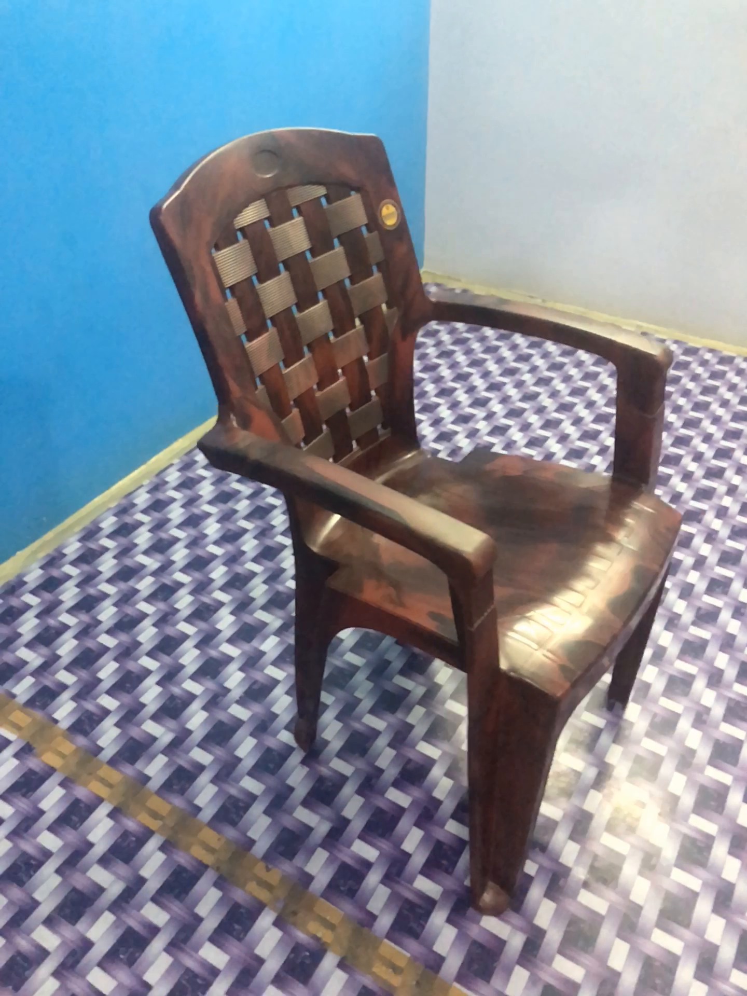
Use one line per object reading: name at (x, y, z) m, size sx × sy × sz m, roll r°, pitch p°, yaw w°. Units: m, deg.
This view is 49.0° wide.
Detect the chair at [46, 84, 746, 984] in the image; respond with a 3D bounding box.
chair at (0.104, 0.001, 1.075) m, size 0.590 × 0.845 × 0.593 m, roll 23°, pitch 42°, yaw 28°
